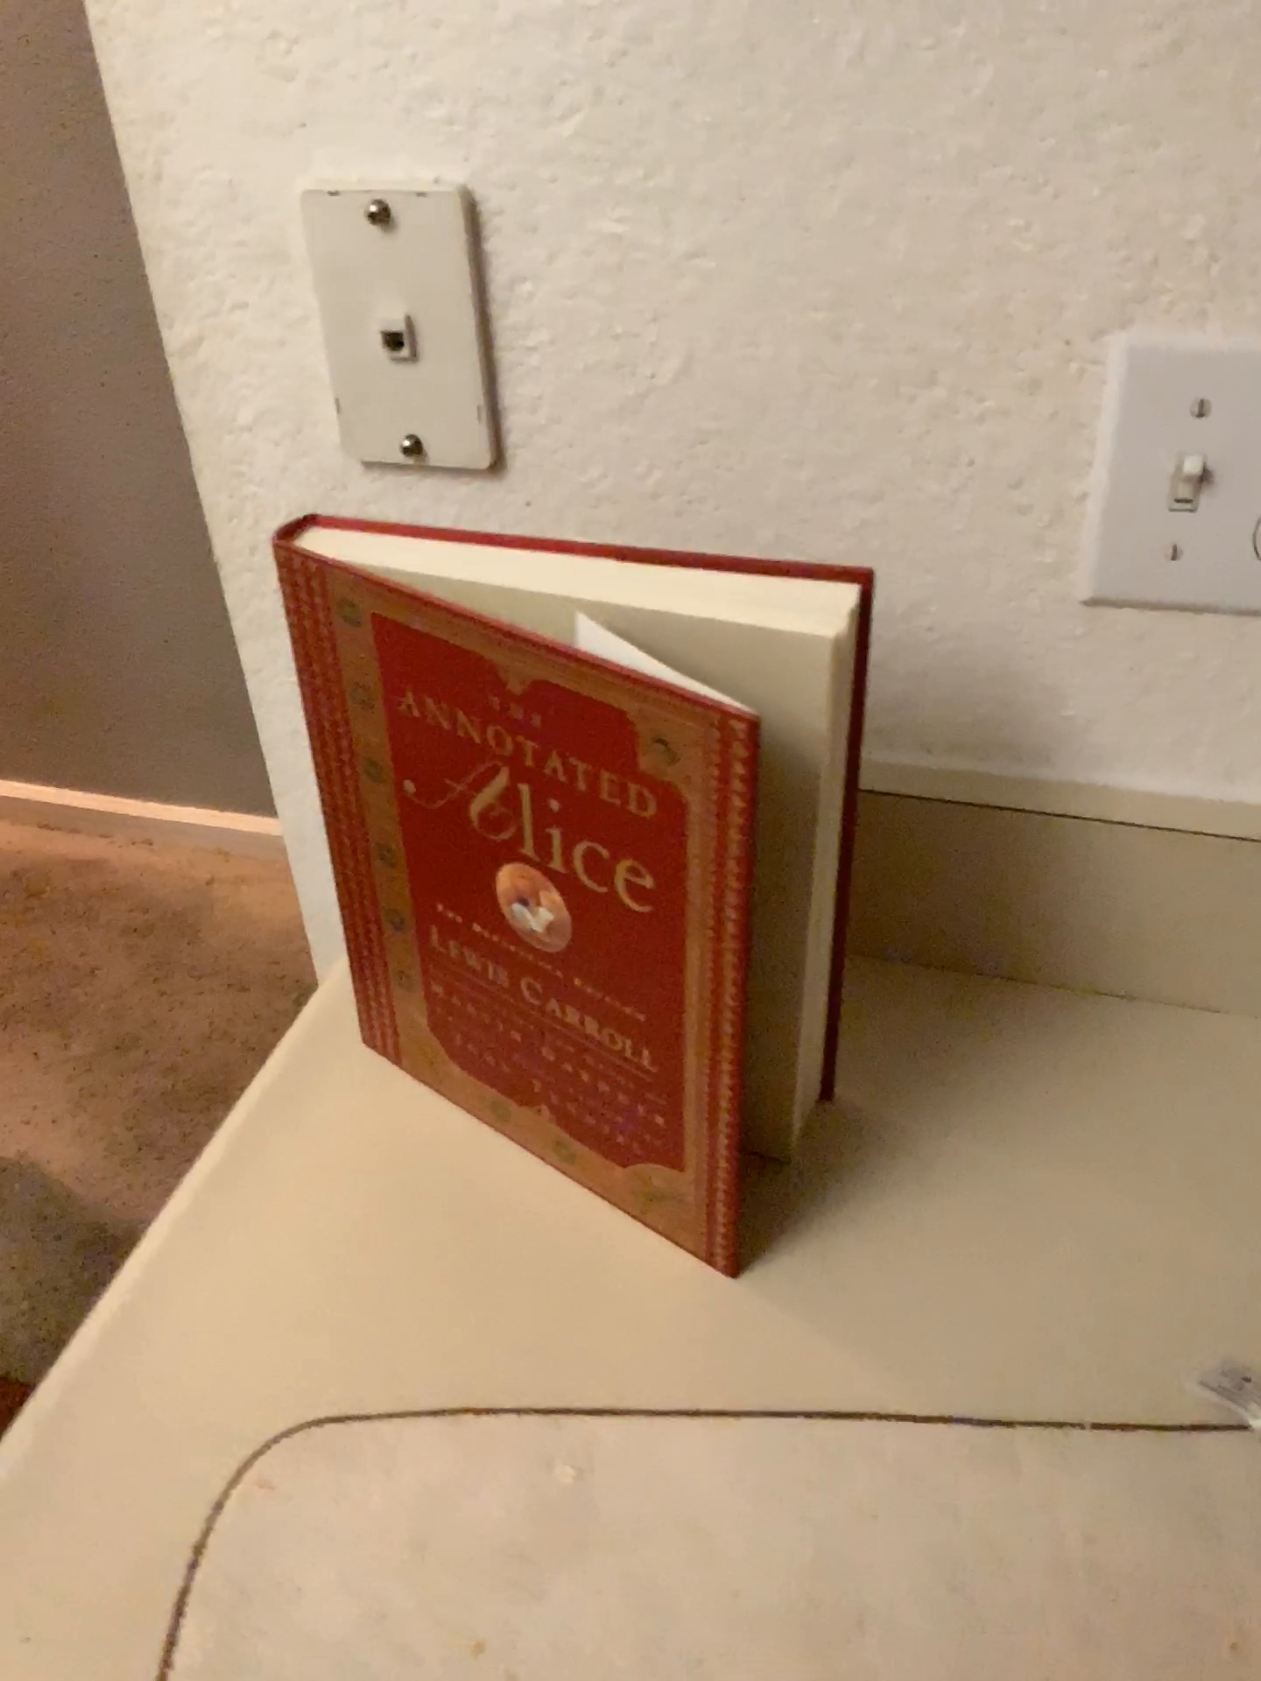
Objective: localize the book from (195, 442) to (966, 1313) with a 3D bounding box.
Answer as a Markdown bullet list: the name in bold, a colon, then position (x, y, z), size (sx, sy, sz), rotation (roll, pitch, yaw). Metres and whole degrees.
- **book**: position (-0.014, 0.006, 0.571), size (0.230, 0.260, 0.150), rotation (20, 41, 29)
